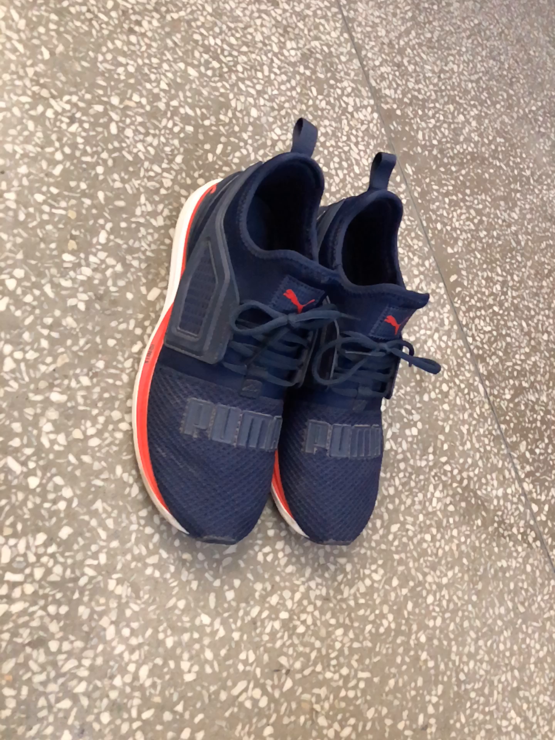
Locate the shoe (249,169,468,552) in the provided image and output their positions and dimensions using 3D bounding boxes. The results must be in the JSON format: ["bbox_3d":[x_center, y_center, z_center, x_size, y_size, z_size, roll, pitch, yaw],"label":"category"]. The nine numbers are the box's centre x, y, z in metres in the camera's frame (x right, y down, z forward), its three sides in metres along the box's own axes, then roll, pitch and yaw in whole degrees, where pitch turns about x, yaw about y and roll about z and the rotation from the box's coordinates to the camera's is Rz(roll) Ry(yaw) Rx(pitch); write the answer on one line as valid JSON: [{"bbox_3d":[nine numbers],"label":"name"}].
[{"bbox_3d":[0.058,0.003,0.471,0.107,0.113,0.257,12,71,-30],"label":"shoe"}]

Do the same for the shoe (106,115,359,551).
[{"bbox_3d":[-0.027,-0.015,0.422,0.107,0.113,0.257,15,69,-29],"label":"shoe"}]
